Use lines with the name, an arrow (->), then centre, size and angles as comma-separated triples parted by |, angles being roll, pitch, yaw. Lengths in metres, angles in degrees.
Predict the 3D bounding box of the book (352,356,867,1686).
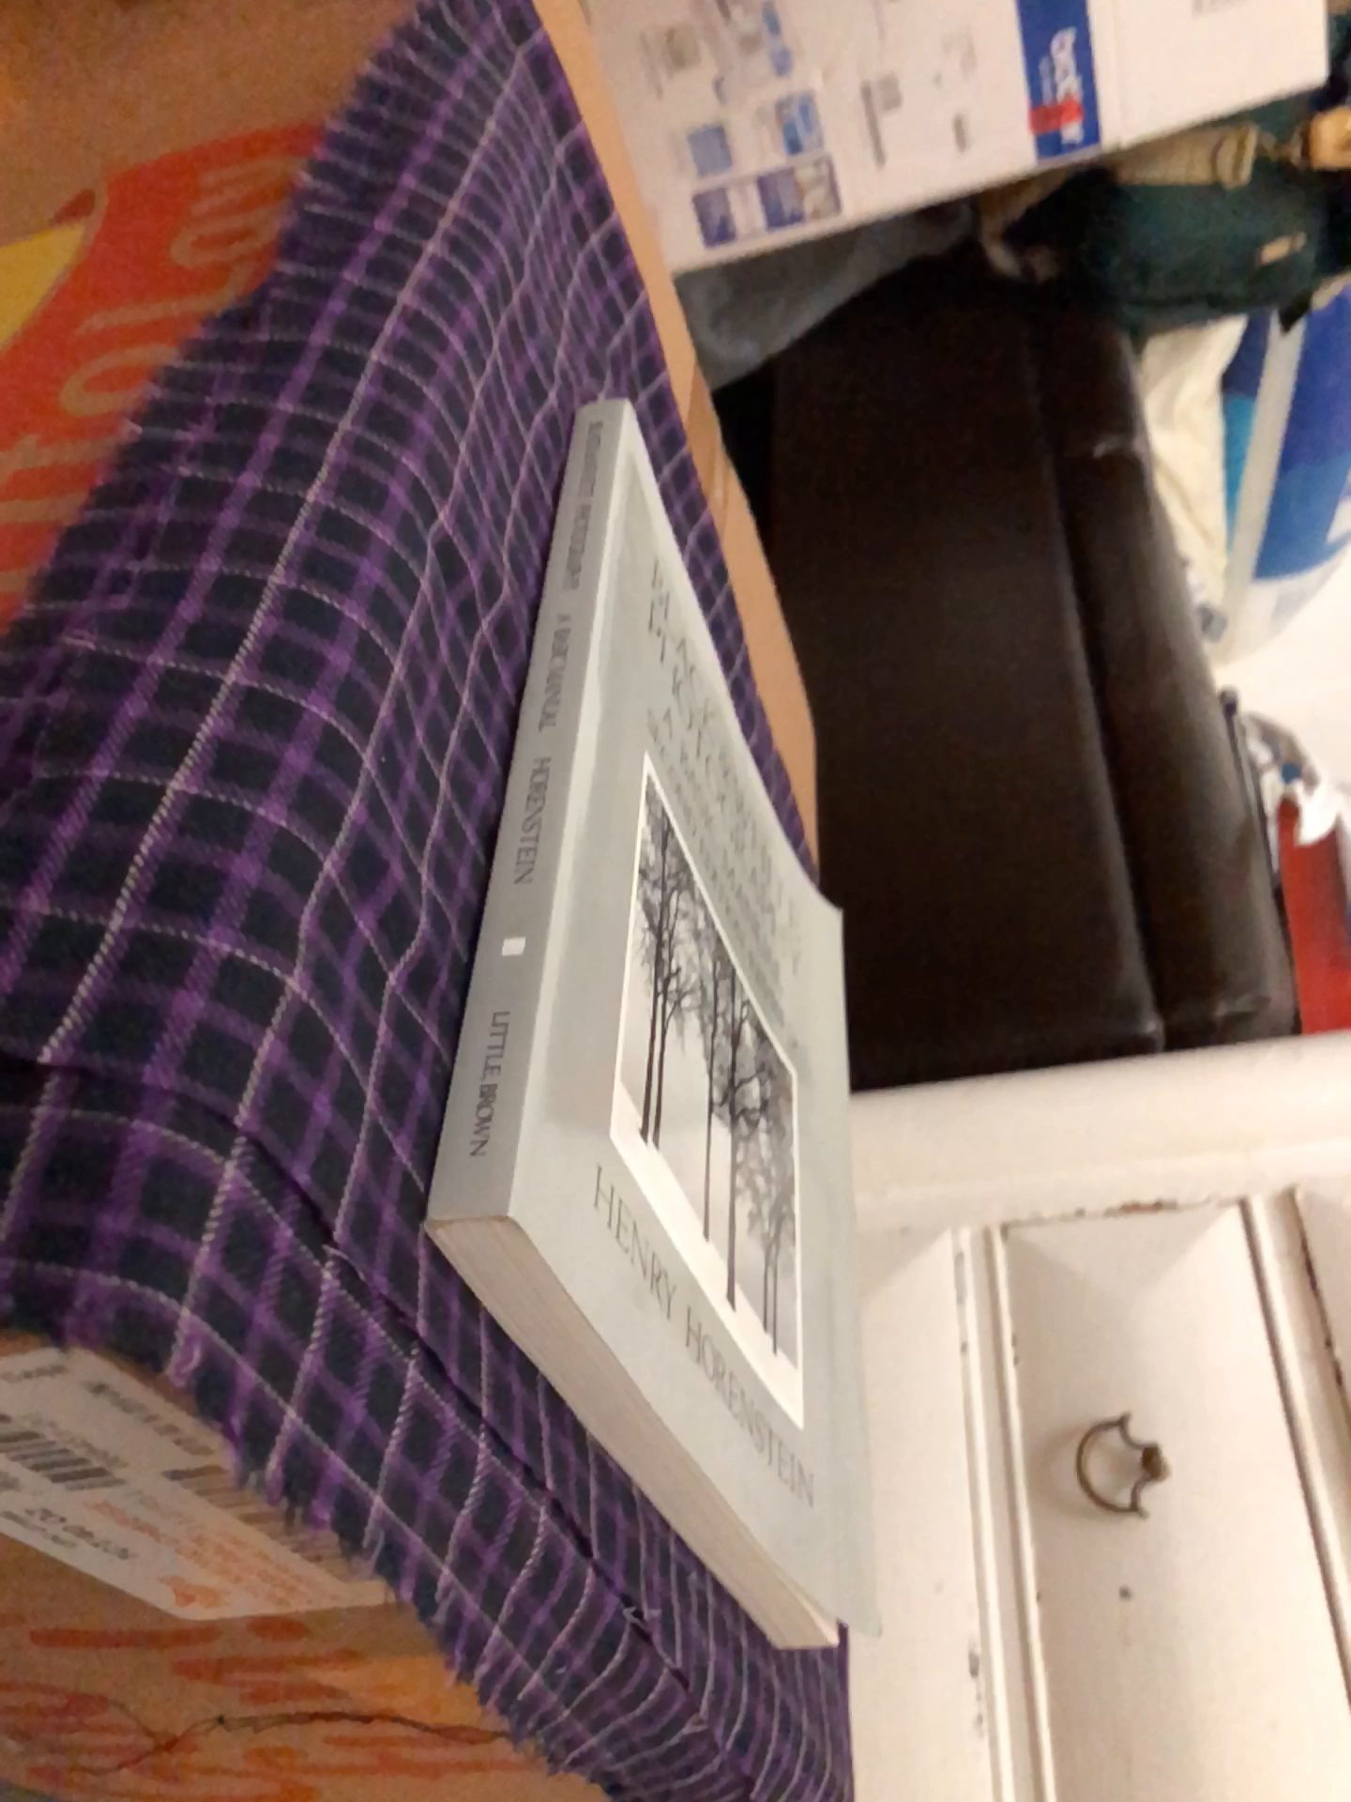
book -> 0.006, 0.026, 0.370 | 0.210, 0.030, 0.251 | 65, 21, -44
